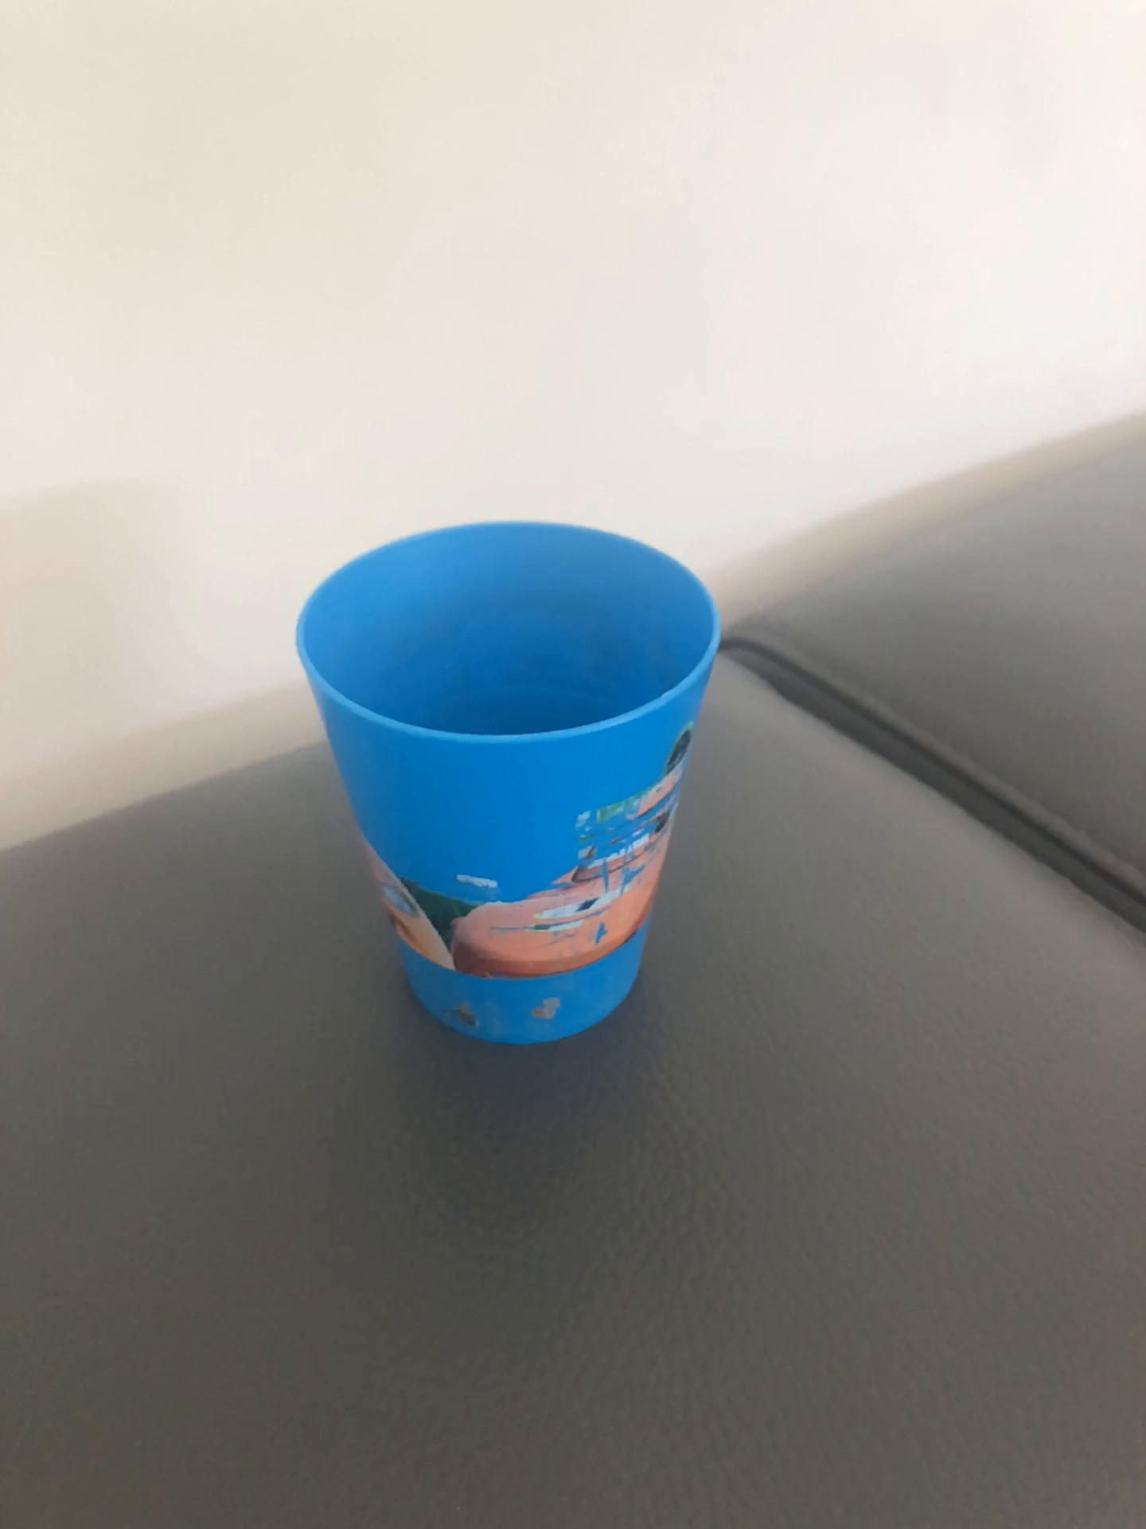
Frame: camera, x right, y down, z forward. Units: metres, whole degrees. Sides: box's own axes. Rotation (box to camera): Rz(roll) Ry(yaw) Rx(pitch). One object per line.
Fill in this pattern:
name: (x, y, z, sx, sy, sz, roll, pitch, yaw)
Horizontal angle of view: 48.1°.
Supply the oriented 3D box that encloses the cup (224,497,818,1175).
cup: (-0.012, 0.010, 0.267, 0.080, 0.089, 0.080, 2, 37, -1)
